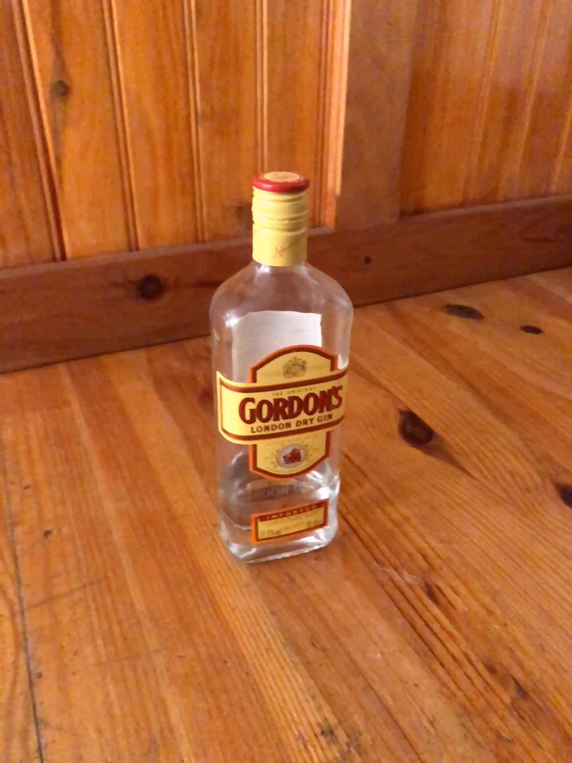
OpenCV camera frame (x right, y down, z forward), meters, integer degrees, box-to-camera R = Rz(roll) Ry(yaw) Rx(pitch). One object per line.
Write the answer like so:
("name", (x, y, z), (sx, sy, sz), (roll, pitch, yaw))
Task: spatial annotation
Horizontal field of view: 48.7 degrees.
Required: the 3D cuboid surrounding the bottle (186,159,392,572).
("bottle", (-0.003, -0.001, 0.380), (0.090, 0.239, 0.060), (-8, 33, -15))
